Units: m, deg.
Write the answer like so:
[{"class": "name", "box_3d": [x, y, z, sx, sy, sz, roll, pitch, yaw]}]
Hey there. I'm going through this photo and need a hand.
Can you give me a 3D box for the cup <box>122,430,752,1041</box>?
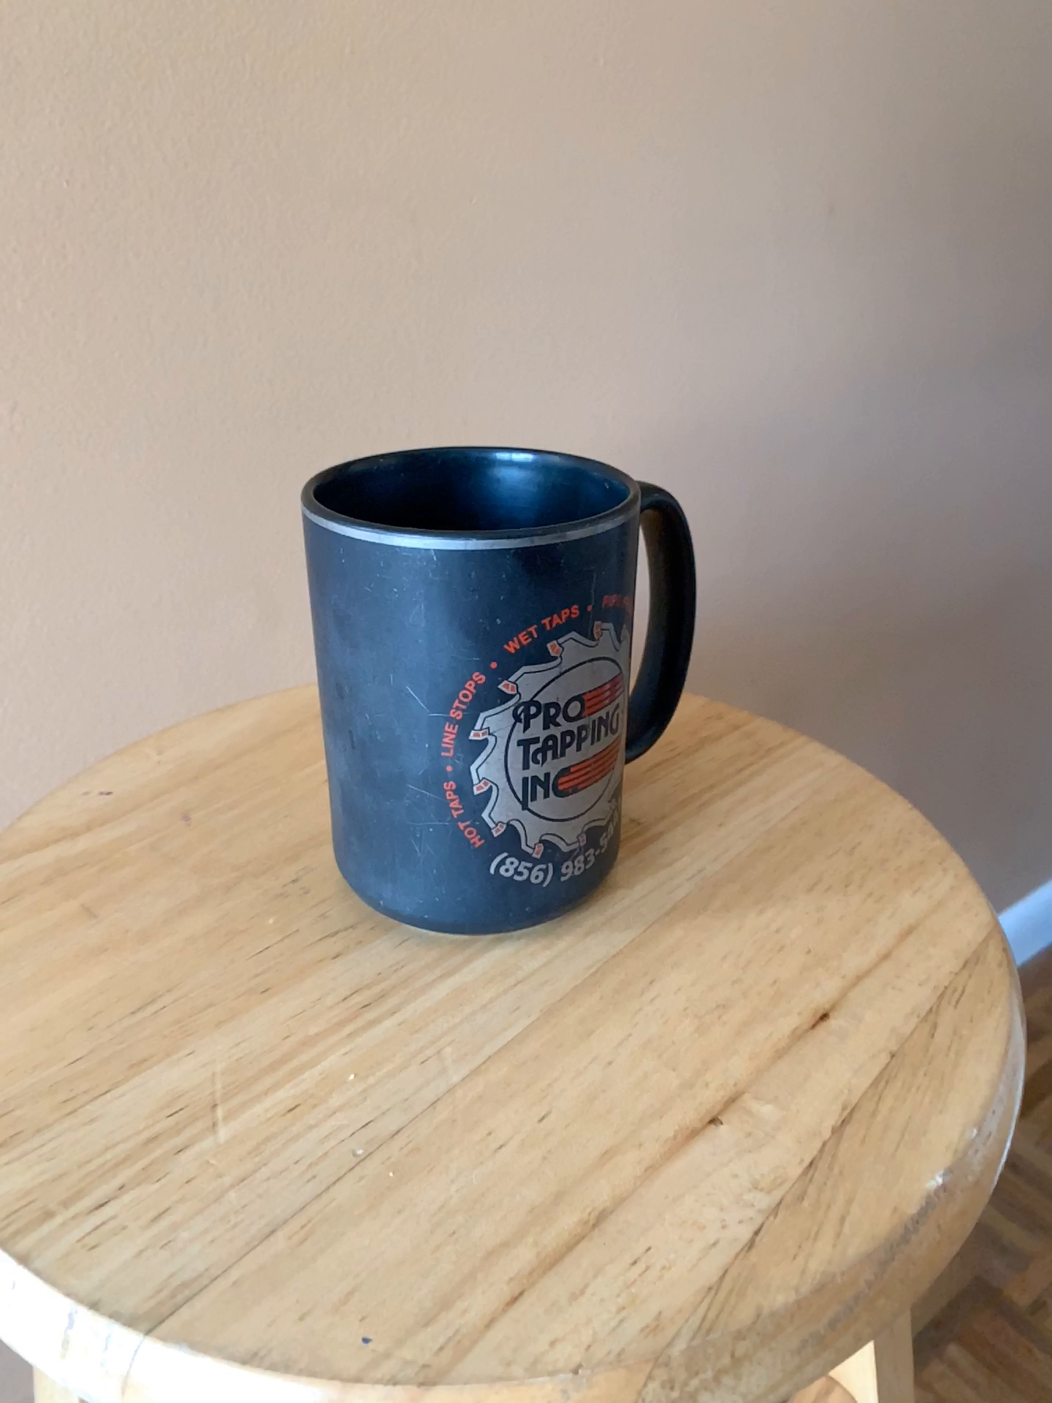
[{"class": "cup", "box_3d": [-0.022, -0.005, 0.335, 0.140, 0.119, 0.110, -22, 33, -39]}]
